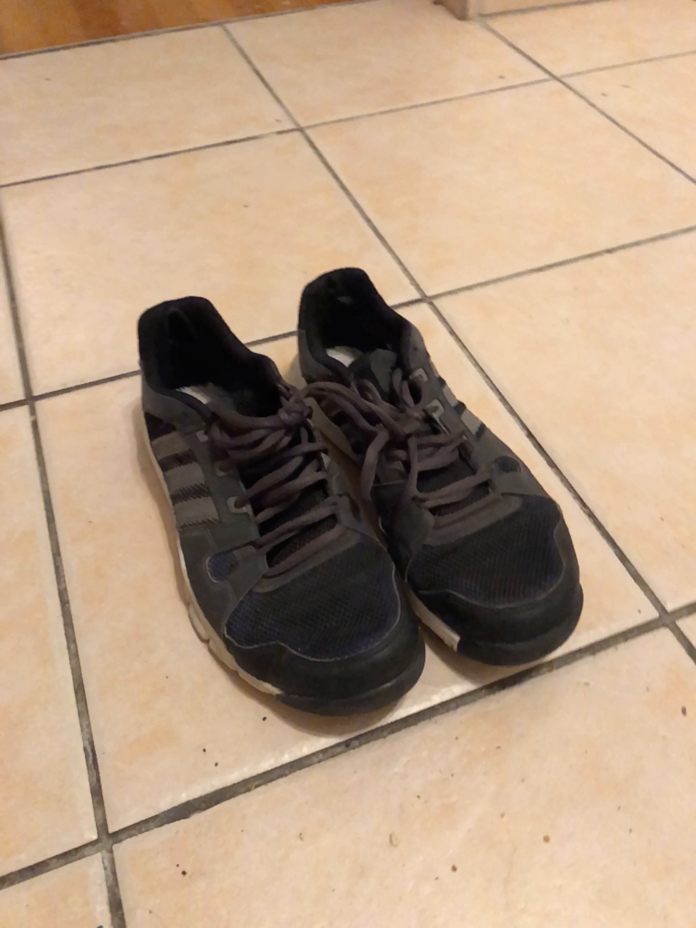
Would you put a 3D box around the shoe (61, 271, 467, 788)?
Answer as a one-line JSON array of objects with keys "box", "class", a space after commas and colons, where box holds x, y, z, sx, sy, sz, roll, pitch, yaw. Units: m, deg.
[{"box": [-0.064, 0.016, 0.444, 0.110, 0.099, 0.282, -20, 51, -21], "class": "shoe"}]

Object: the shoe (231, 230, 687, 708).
[{"box": [0.045, -0.017, 0.473, 0.120, 0.099, 0.282, -23, 52, -18], "class": "shoe"}]
